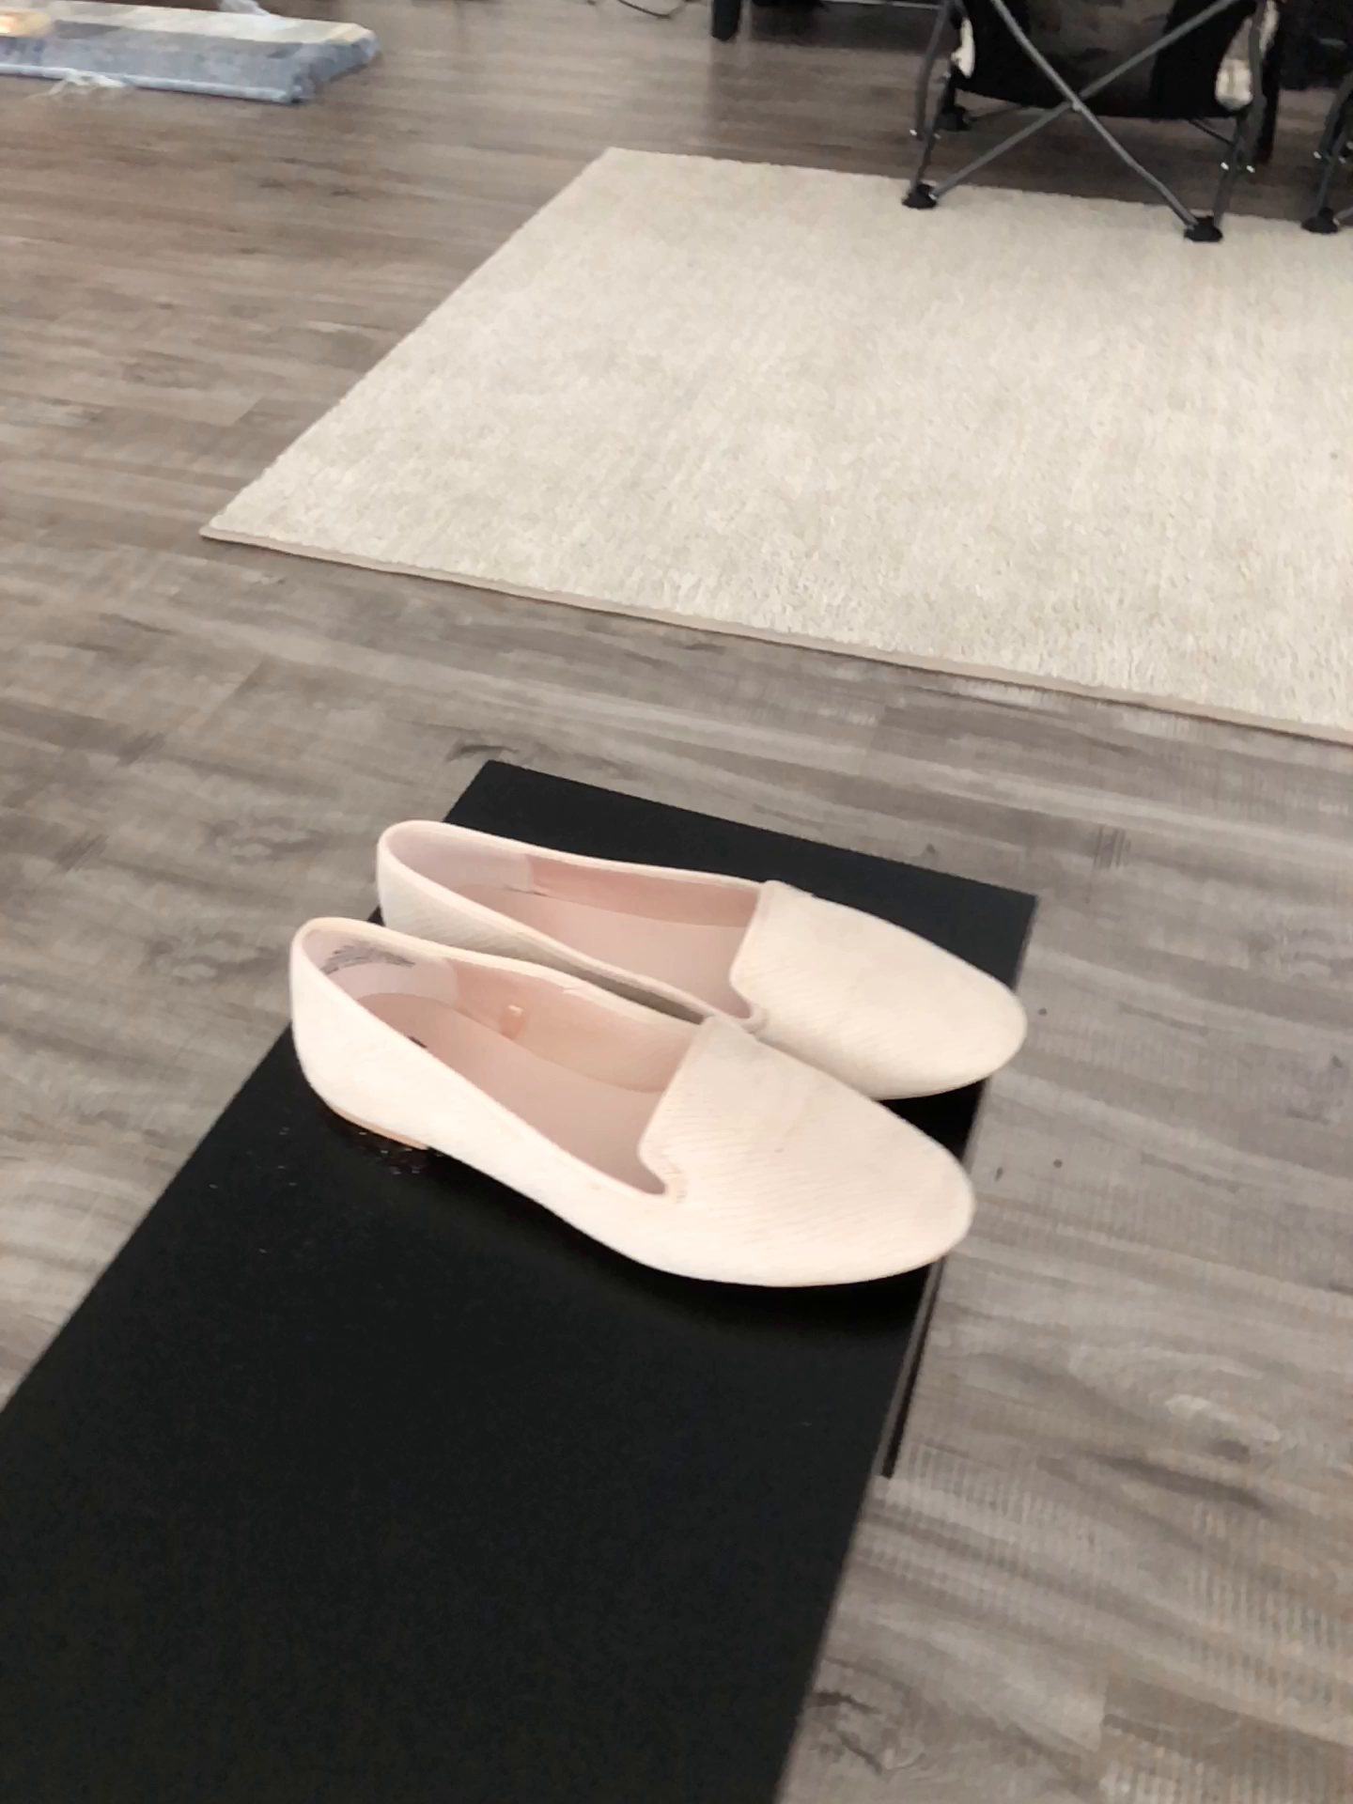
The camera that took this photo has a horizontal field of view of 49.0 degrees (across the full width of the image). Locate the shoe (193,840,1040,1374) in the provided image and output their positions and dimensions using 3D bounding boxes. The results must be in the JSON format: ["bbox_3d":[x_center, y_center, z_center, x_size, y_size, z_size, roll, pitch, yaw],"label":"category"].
[{"bbox_3d":[-0.020,0.062,0.504,0.259,0.070,0.090,14,45,15],"label":"shoe"}]

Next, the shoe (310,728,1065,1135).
[{"bbox_3d":[0.005,0.007,0.557,0.259,0.070,0.080,11,45,11],"label":"shoe"}]
